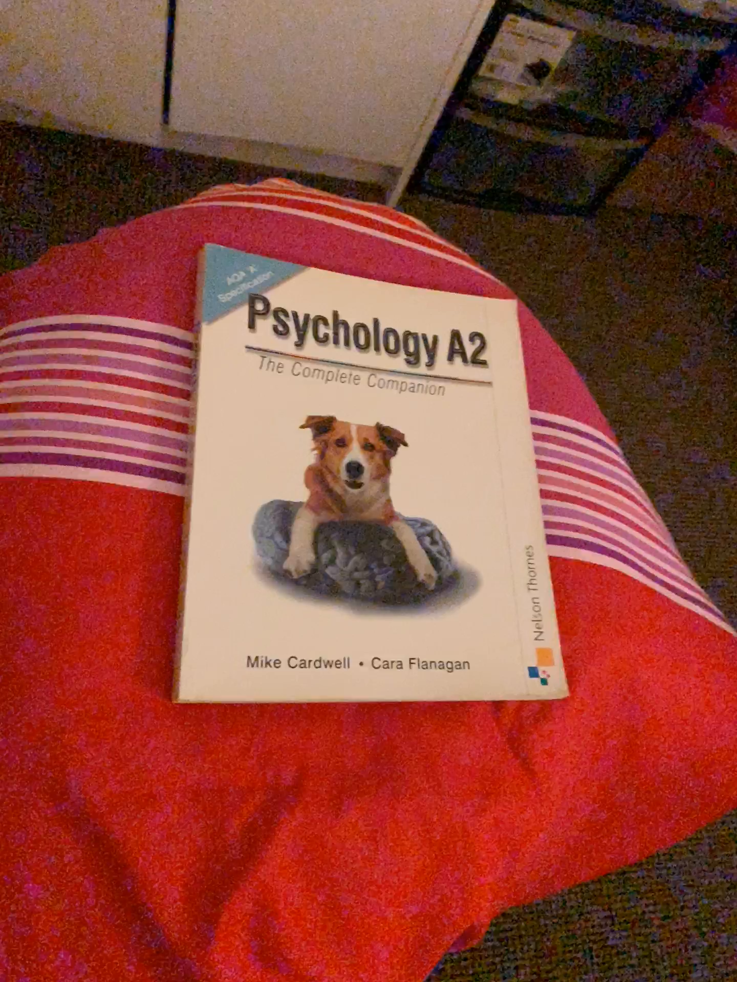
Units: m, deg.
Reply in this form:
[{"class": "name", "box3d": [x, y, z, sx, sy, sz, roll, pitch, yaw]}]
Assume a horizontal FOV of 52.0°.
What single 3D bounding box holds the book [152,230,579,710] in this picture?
[{"class": "book", "box3d": [-0.001, -0.015, 0.480, 0.240, 0.040, 0.291, 4, 68, -16]}]
